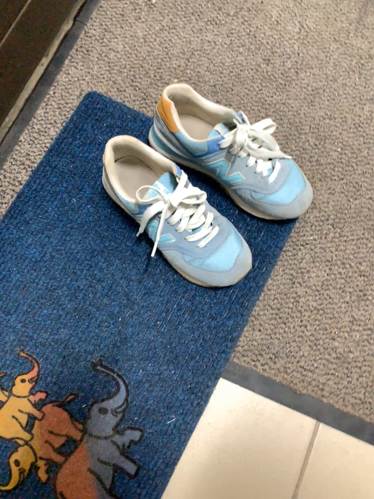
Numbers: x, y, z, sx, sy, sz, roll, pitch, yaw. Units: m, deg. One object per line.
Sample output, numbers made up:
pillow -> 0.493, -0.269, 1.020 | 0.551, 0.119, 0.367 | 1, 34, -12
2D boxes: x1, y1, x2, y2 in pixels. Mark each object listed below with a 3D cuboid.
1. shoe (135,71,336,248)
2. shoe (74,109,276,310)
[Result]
shoe -> 0.061, -0.121, 0.548 | 0.250, 0.120, 0.090 | 35, 82, 8
shoe -> -0.021, -0.046, 0.526 | 0.260, 0.140, 0.080 | 42, 75, 10
